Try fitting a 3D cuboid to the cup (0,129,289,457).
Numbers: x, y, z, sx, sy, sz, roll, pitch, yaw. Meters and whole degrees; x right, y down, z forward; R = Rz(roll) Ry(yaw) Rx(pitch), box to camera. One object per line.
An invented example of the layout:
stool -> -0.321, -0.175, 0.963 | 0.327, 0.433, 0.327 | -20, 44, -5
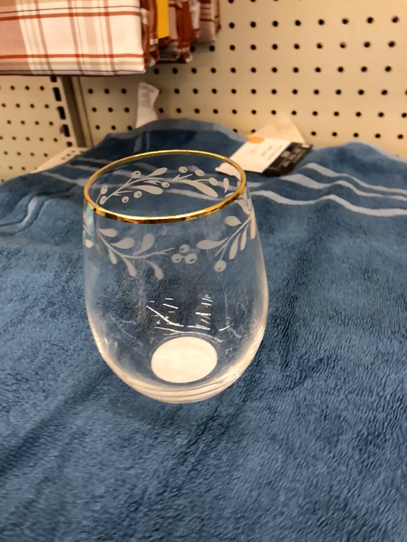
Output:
cup -> -0.018, 0.002, 0.205 | 0.090, 0.100, 0.090 | -3, 35, 2
